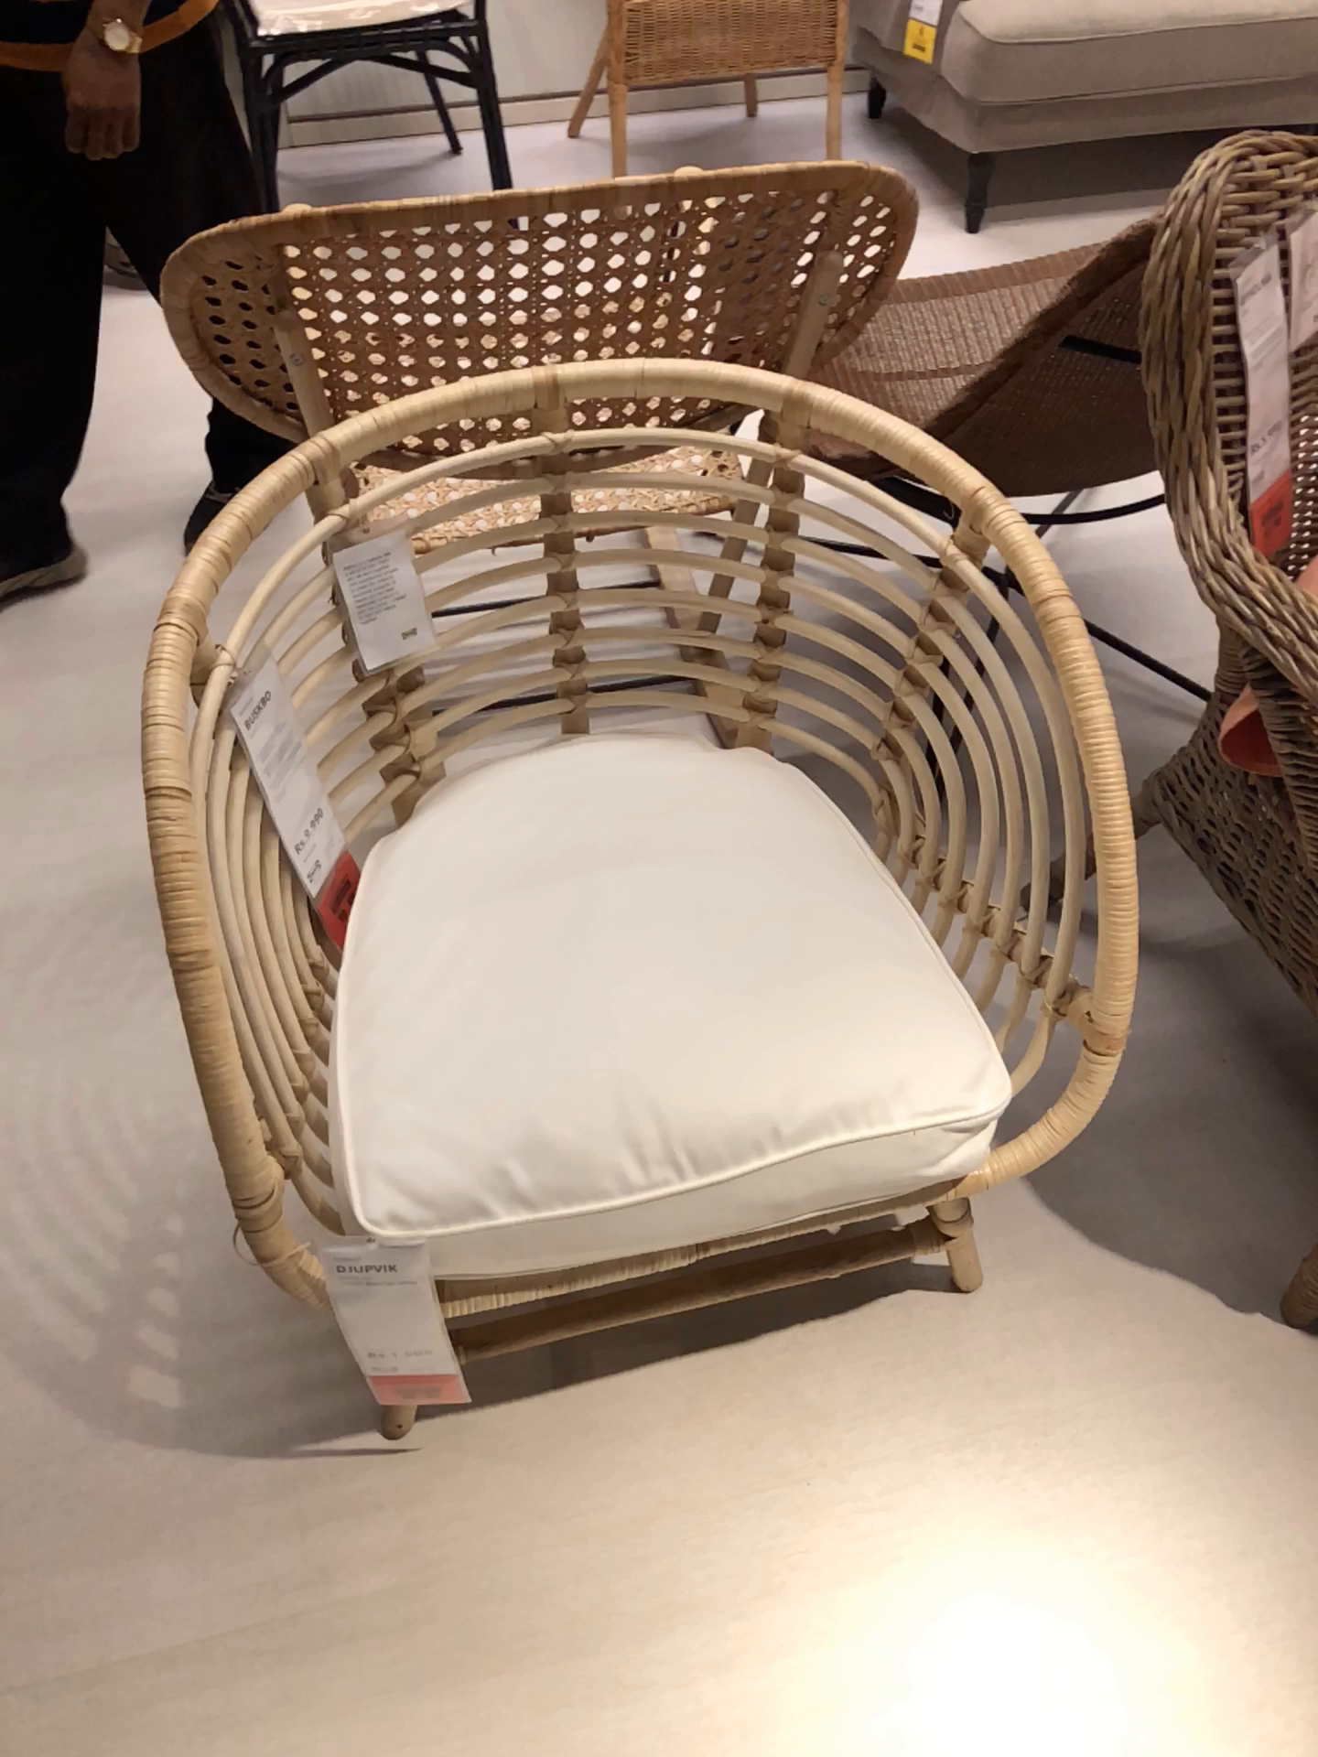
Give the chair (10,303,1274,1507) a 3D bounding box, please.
[{"bbox_3d":[-0.059,0.023,1.389,0.780,0.775,0.704,-10,48,-8],"label":"chair"}]
